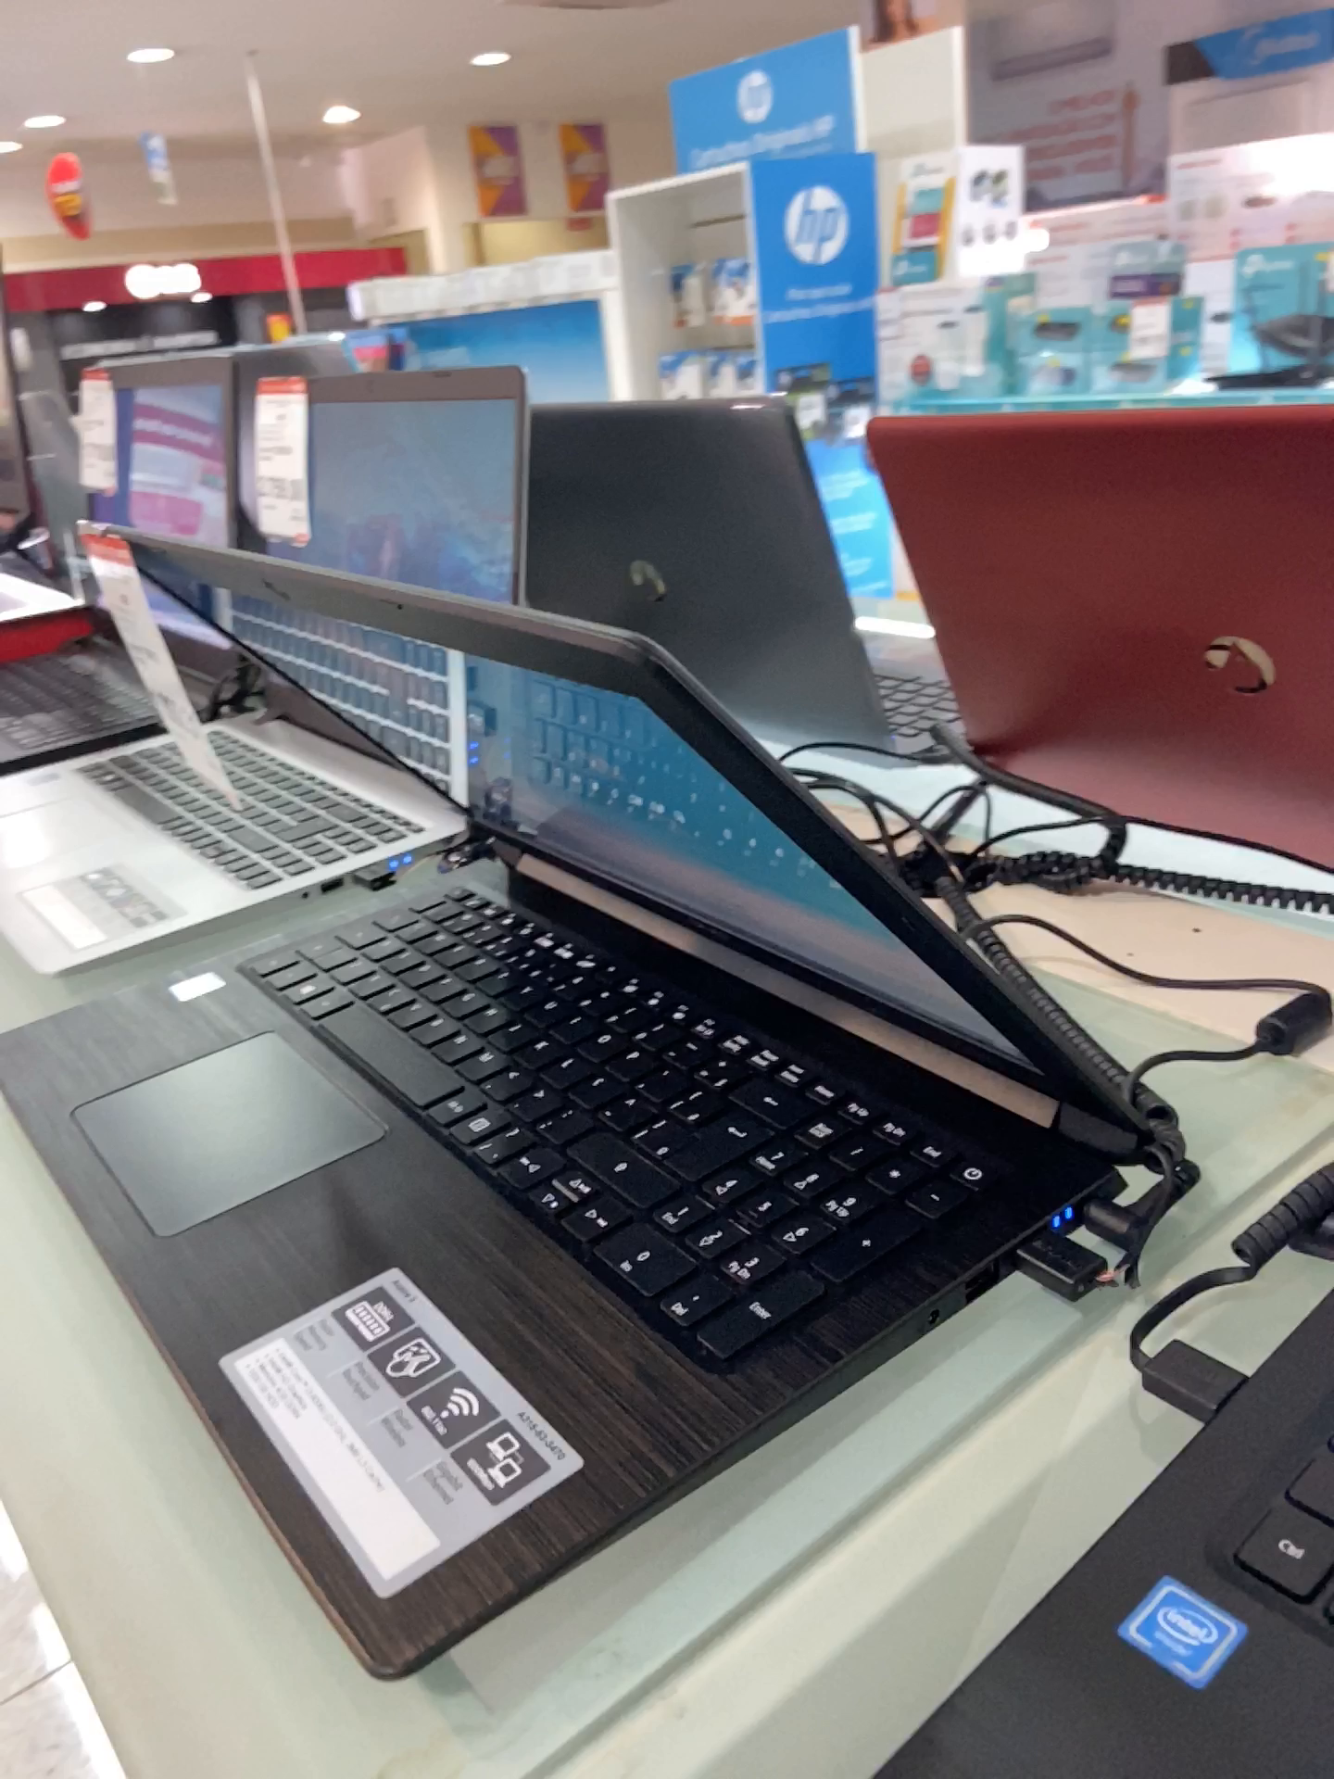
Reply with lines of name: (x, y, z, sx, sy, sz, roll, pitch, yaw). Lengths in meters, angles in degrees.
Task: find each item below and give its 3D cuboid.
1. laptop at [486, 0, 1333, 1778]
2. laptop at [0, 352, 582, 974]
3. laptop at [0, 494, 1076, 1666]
laptop: (0.252, 0.053, 0.117, 0.285, 0.246, 0.432, -25, 29, -35)
laptop: (-0.298, -0.164, 0.819, 0.302, 0.233, 0.396, -21, 26, -30)
laptop: (-0.092, -0.010, 0.455, 0.234, 0.186, 0.374, -21, 26, -31)
